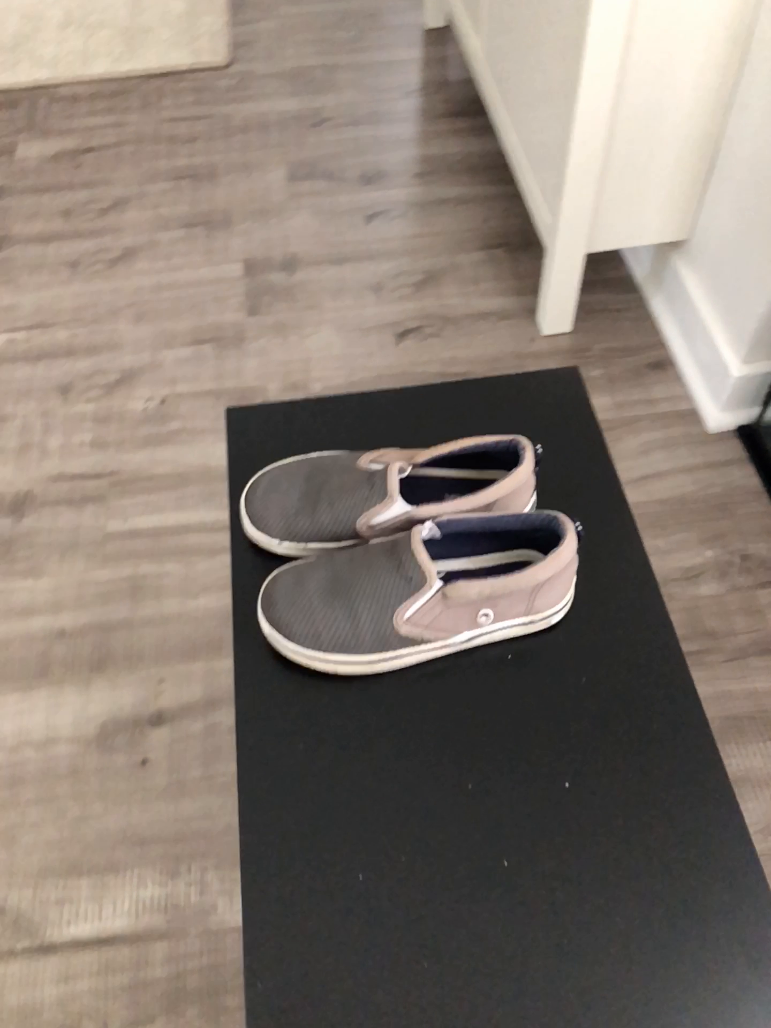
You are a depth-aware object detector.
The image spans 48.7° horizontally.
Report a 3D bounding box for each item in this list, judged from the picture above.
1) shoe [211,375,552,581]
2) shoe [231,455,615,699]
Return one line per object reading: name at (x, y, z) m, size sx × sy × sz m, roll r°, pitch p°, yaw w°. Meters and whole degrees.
shoe at (-0.004, -0.021, 0.522) m, size 0.190 × 0.070 × 0.078 m, roll -7°, pitch 54°, yaw -1°
shoe at (0.018, 0.035, 0.477) m, size 0.190 × 0.070 × 0.078 m, roll -11°, pitch 55°, yaw -4°
